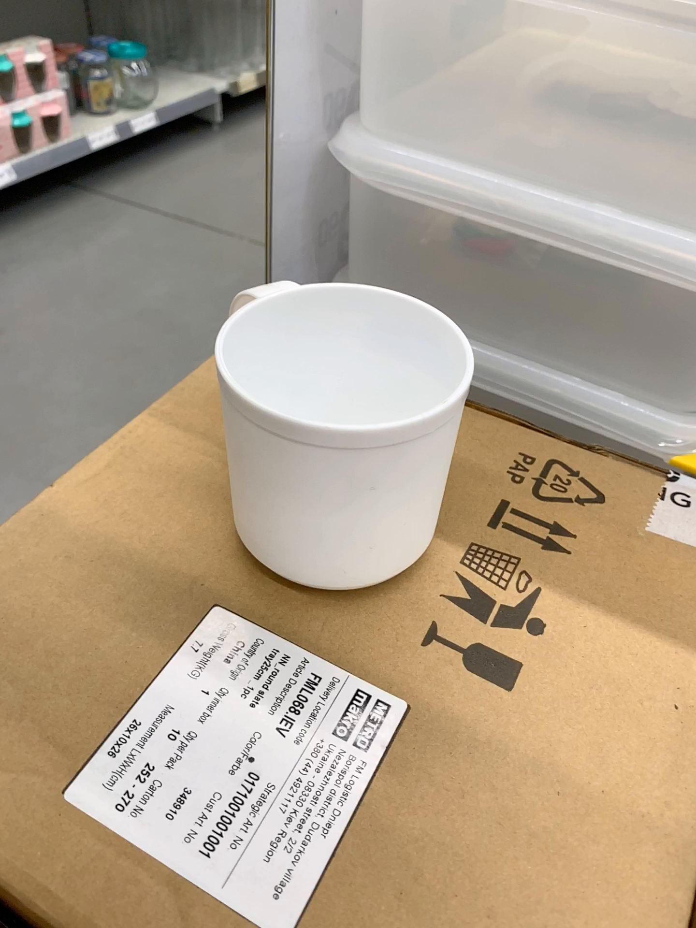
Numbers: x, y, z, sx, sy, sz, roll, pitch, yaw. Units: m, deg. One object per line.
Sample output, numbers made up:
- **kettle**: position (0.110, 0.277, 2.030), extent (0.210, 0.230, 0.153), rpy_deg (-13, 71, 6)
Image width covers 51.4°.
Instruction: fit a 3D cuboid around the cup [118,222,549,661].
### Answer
- **cup**: position (-0.011, -0.016, 0.242), extent (0.080, 0.075, 0.113), rpy_deg (-23, 49, -27)
